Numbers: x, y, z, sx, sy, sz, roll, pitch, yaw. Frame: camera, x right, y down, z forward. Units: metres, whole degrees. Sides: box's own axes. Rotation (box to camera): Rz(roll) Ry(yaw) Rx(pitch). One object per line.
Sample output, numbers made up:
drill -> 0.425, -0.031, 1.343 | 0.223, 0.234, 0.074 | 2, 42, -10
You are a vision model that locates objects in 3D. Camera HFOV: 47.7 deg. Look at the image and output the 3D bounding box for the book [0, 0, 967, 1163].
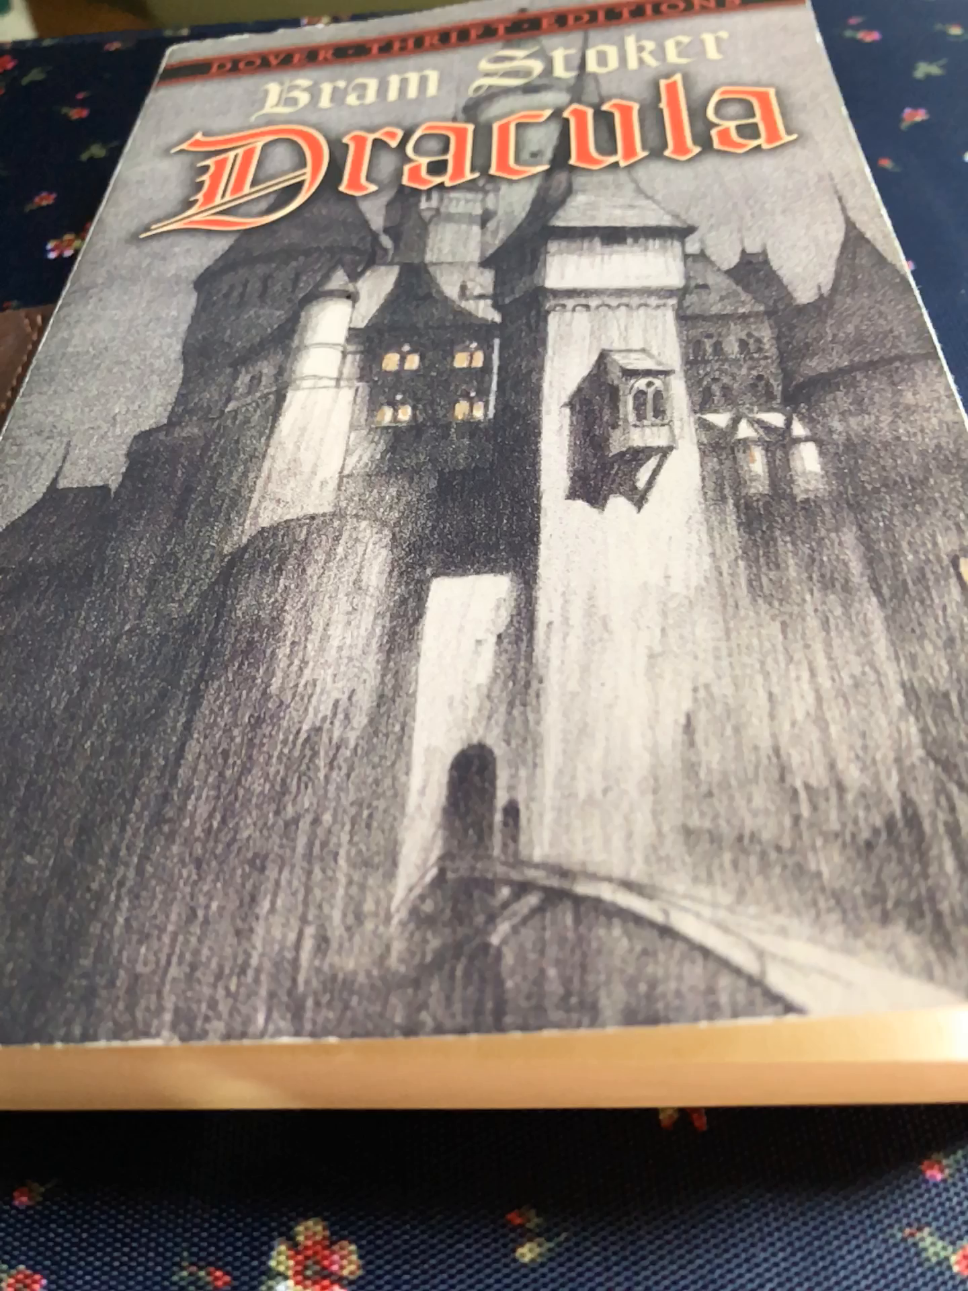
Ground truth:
book -> -0.005, -0.036, 0.166 | 0.130, 0.033, 0.203 | -3, 52, 6
